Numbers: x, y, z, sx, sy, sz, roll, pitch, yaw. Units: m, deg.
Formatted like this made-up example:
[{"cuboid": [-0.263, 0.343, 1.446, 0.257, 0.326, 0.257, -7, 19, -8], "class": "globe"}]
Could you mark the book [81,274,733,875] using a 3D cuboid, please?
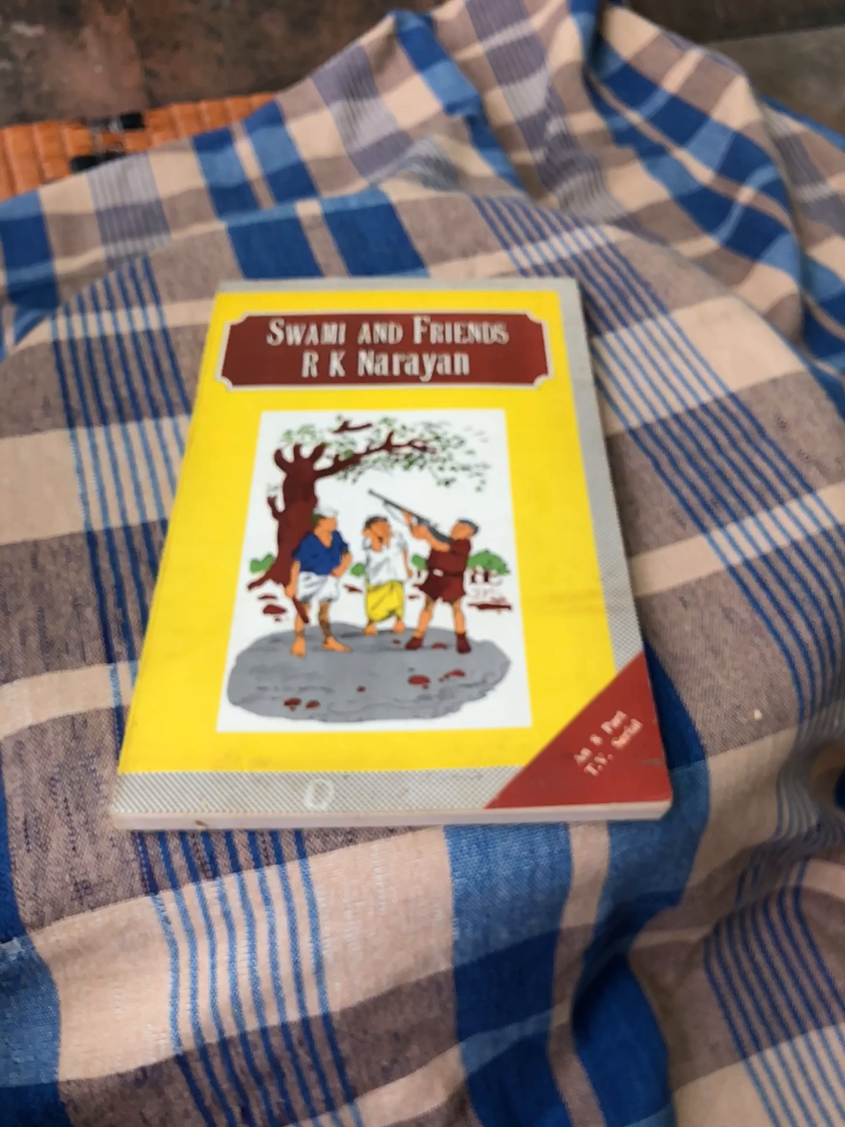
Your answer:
[{"cuboid": [-0.003, -0.013, 0.259, 0.130, 0.020, 0.191, 0, 51, 1], "class": "book"}]
